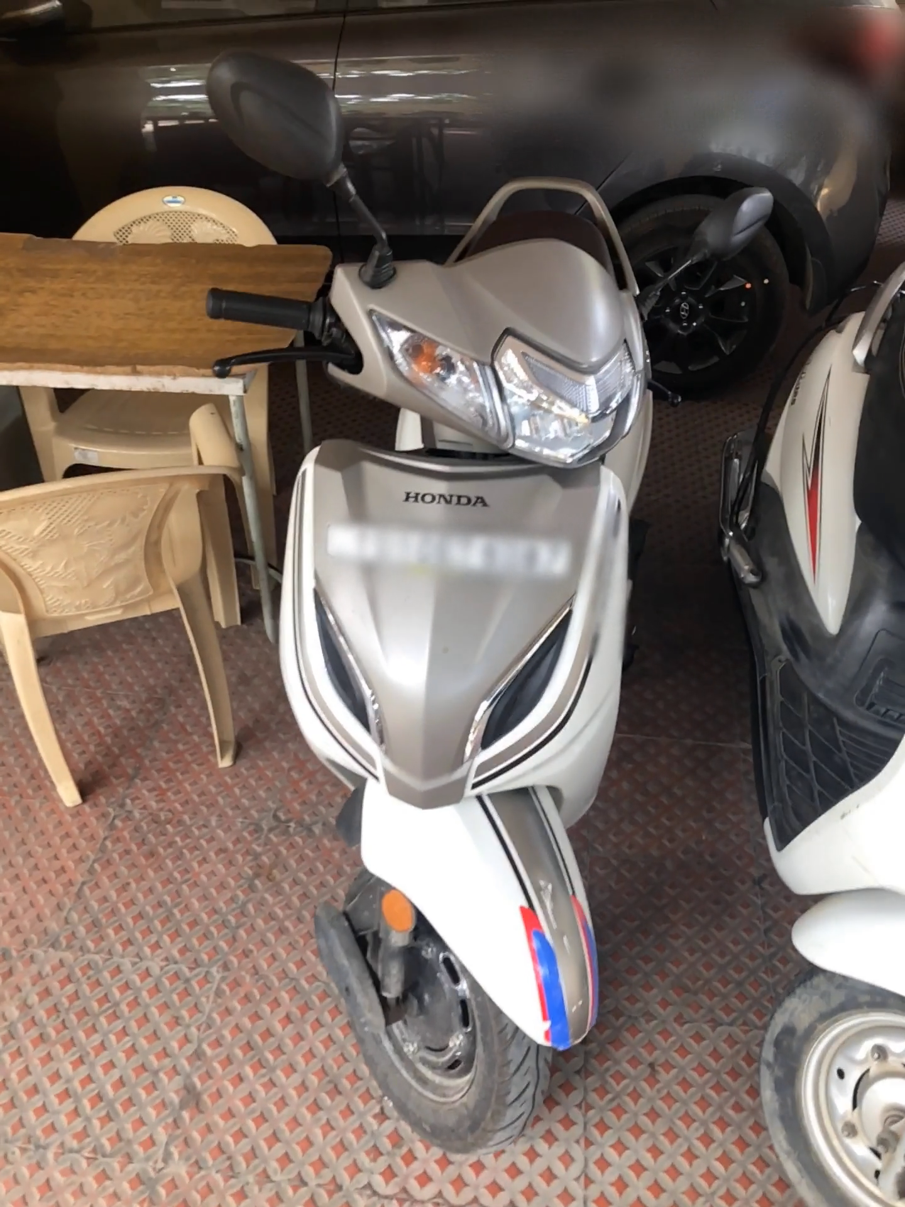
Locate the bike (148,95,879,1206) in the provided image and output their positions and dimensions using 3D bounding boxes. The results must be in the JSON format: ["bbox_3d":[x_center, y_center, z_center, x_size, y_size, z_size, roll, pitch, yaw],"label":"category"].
[{"bbox_3d":[0.087,-0.060,1.611,0.626,0.850,1.463,2,45,3],"label":"bike"}]
